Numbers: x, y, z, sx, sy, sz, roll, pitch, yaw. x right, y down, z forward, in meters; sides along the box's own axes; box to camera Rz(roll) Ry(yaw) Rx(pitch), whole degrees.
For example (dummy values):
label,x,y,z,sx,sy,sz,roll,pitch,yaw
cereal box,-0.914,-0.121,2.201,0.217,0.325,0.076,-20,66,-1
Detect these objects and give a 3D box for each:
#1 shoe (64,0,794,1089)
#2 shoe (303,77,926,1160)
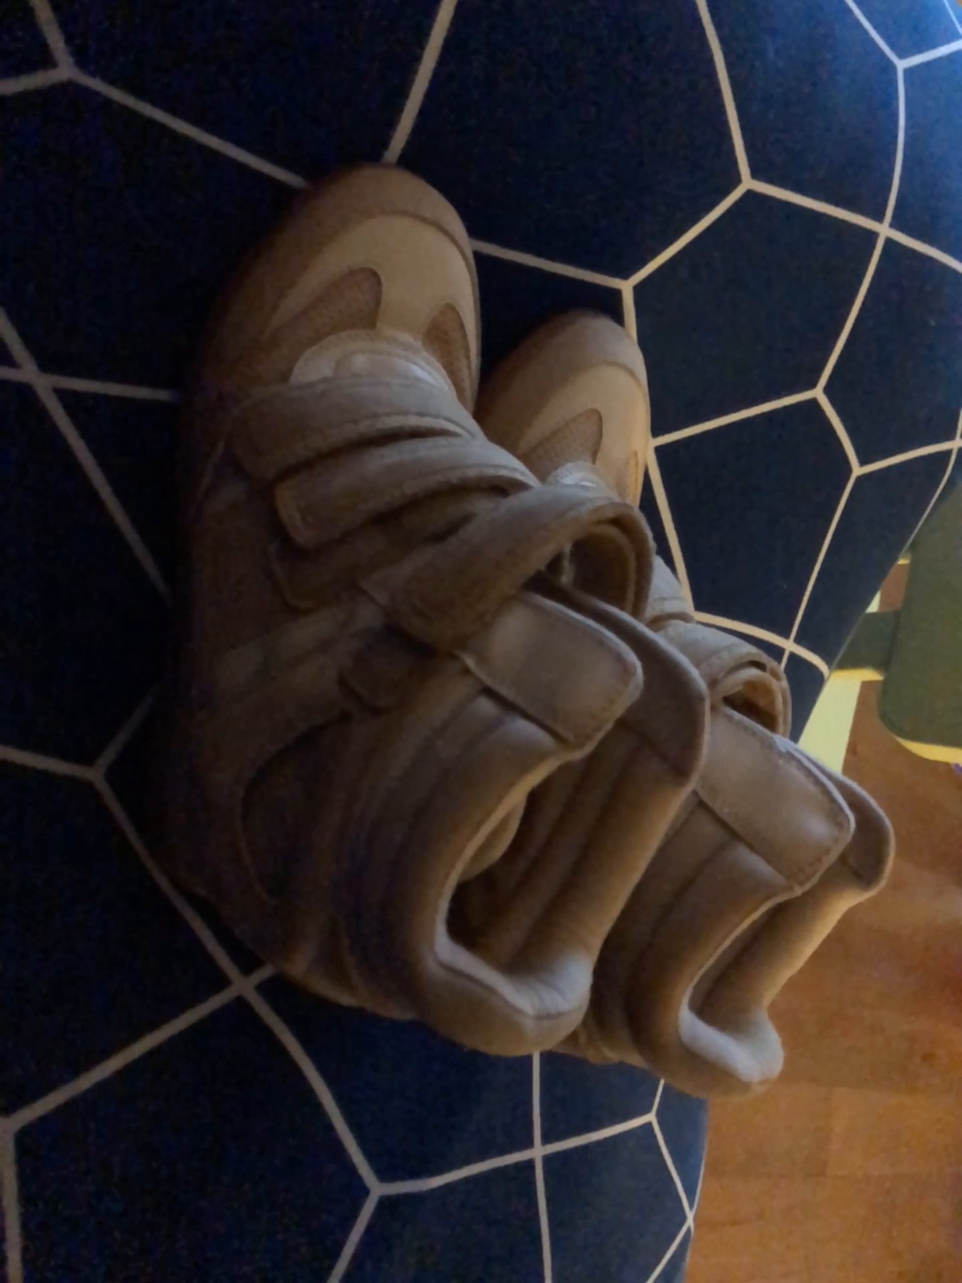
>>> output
label,x,y,z,sx,sy,sz,roll,pitch,yaw
shoe,-0.010,-0.035,0.290,0.100,0.139,0.260,18,74,-43
shoe,0.050,-0.005,0.339,0.100,0.129,0.280,23,71,-42
